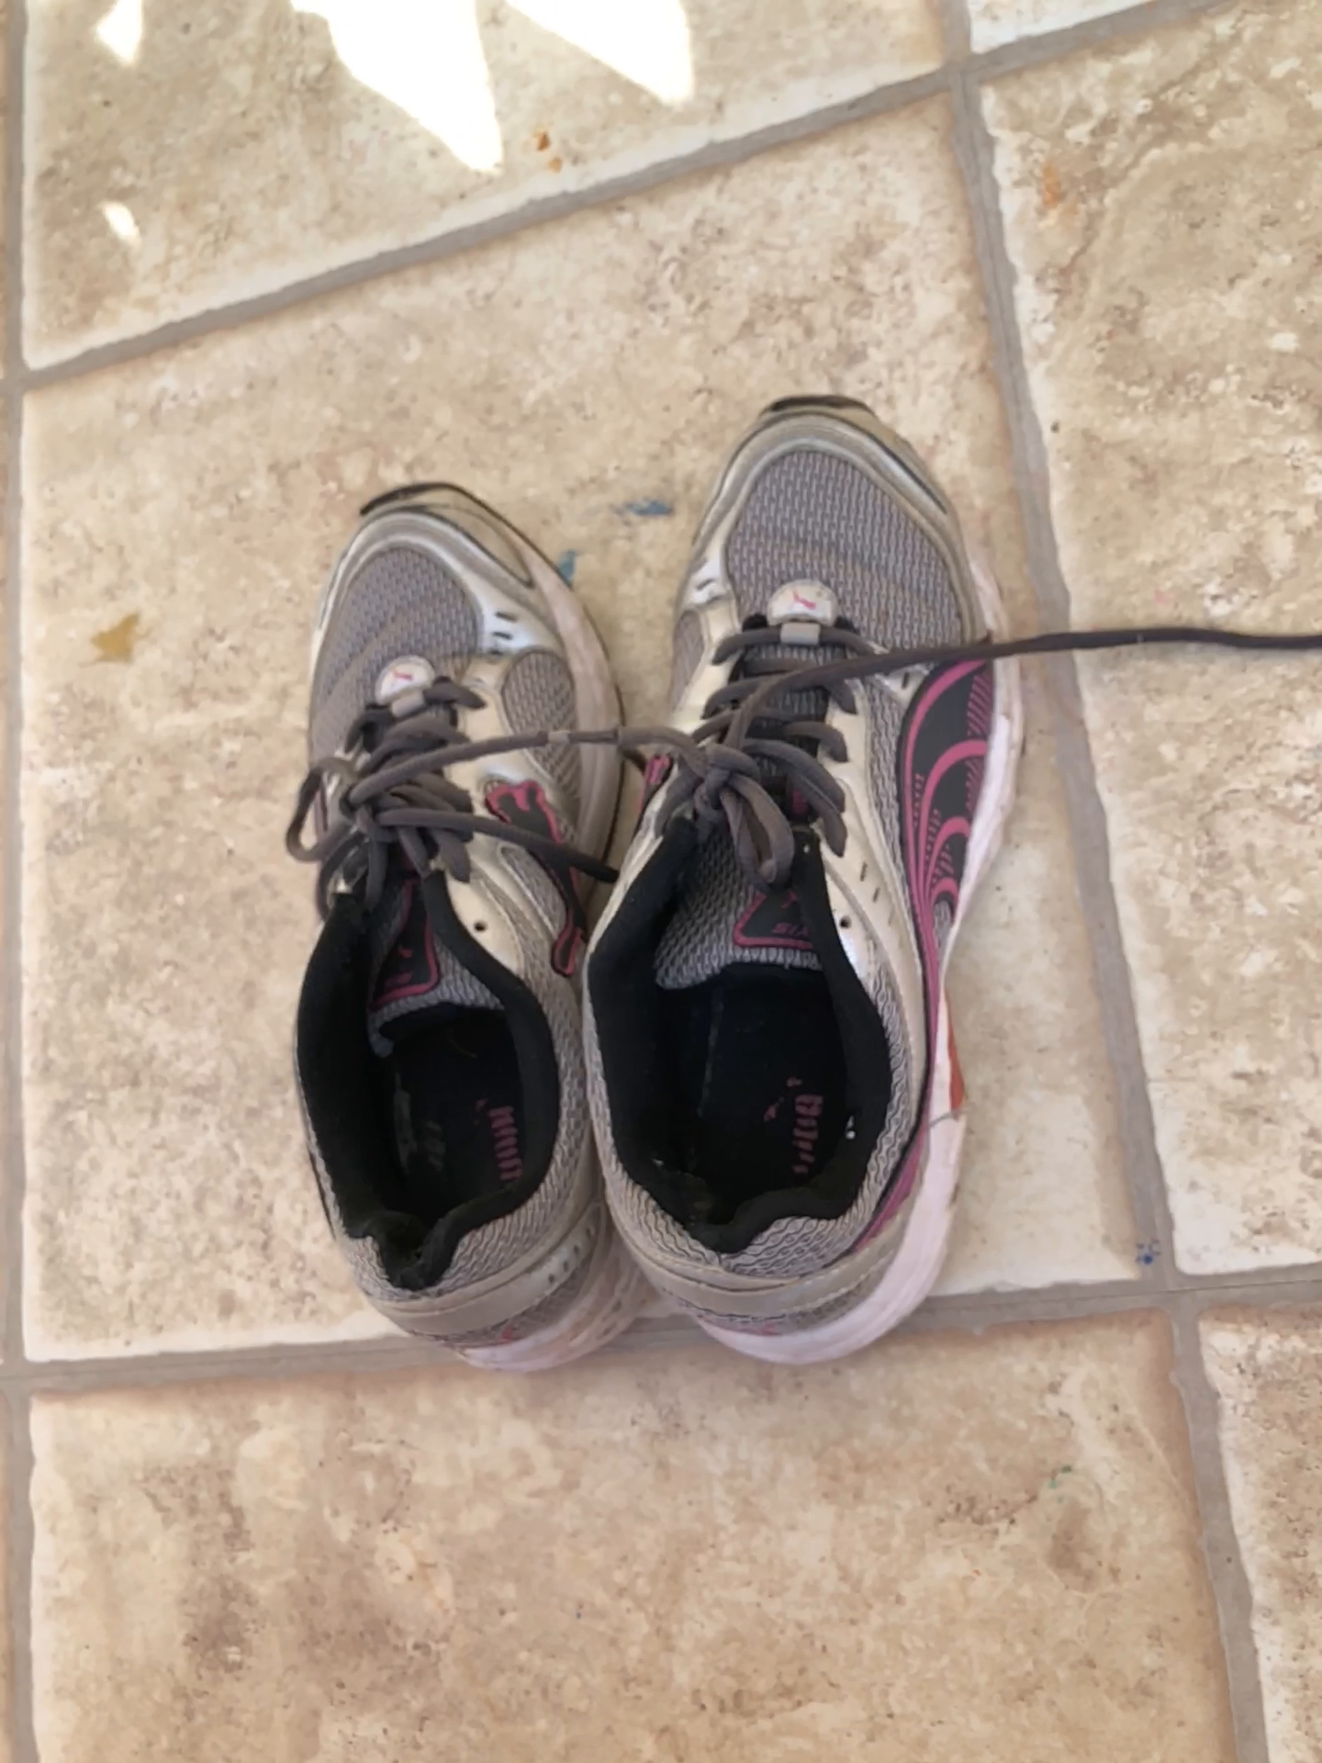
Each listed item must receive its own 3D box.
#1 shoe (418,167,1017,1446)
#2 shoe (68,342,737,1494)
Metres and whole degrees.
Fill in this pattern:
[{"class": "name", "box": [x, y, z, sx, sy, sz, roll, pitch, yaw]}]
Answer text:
[{"class": "shoe", "box": [0.029, -0.012, 0.386, 0.110, 0.140, 0.270, -1, 79, 20]}, {"class": "shoe", "box": [-0.072, 0.015, 0.427, 0.110, 0.140, 0.270, -13, 75, 17]}]
